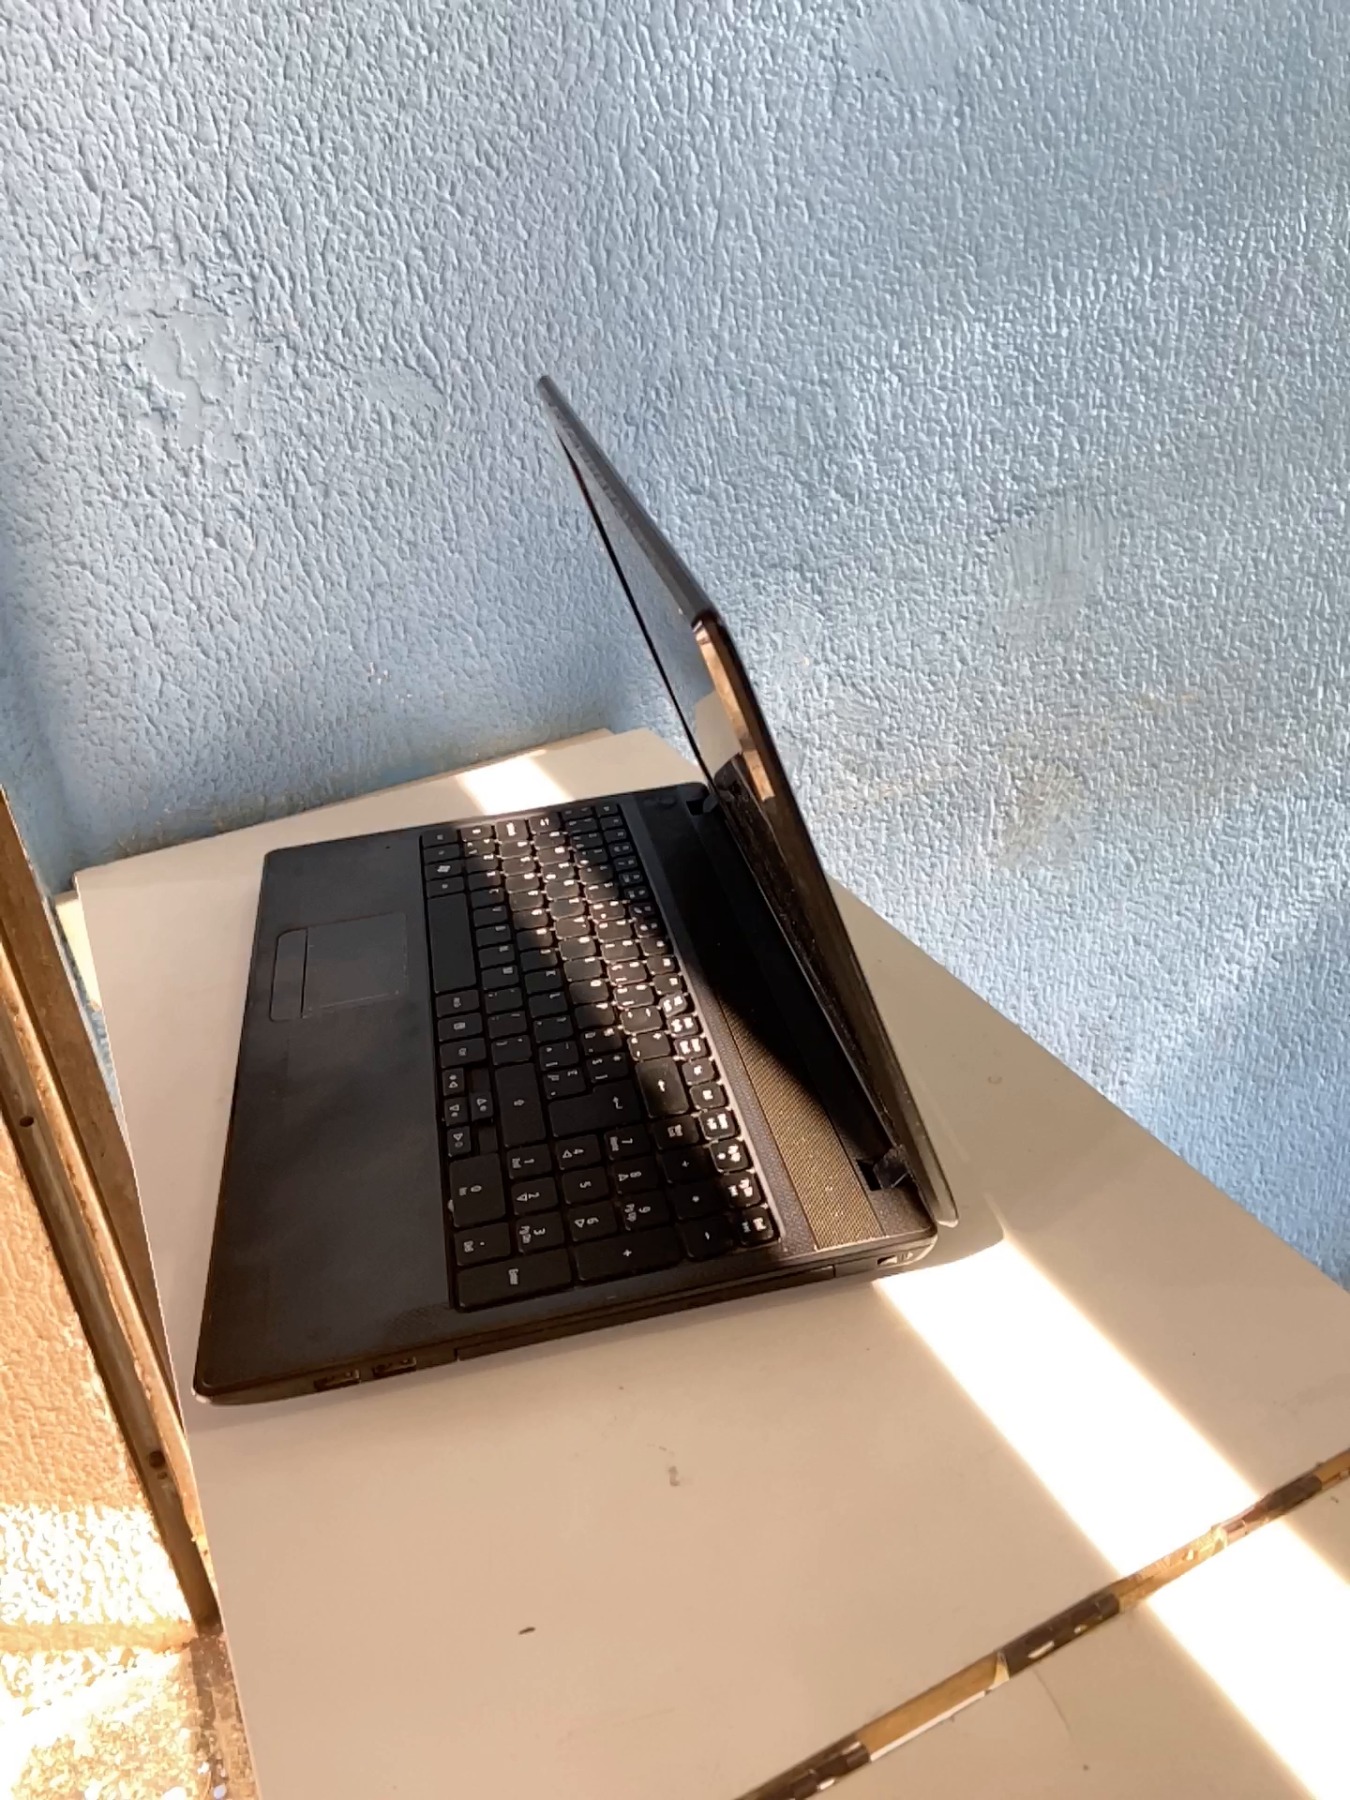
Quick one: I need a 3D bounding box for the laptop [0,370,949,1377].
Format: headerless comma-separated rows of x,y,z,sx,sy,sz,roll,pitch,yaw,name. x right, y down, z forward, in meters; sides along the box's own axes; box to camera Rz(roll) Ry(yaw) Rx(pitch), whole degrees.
-0.075,-0.056,0.578,0.253,0.234,0.376,-9,30,-8,laptop
